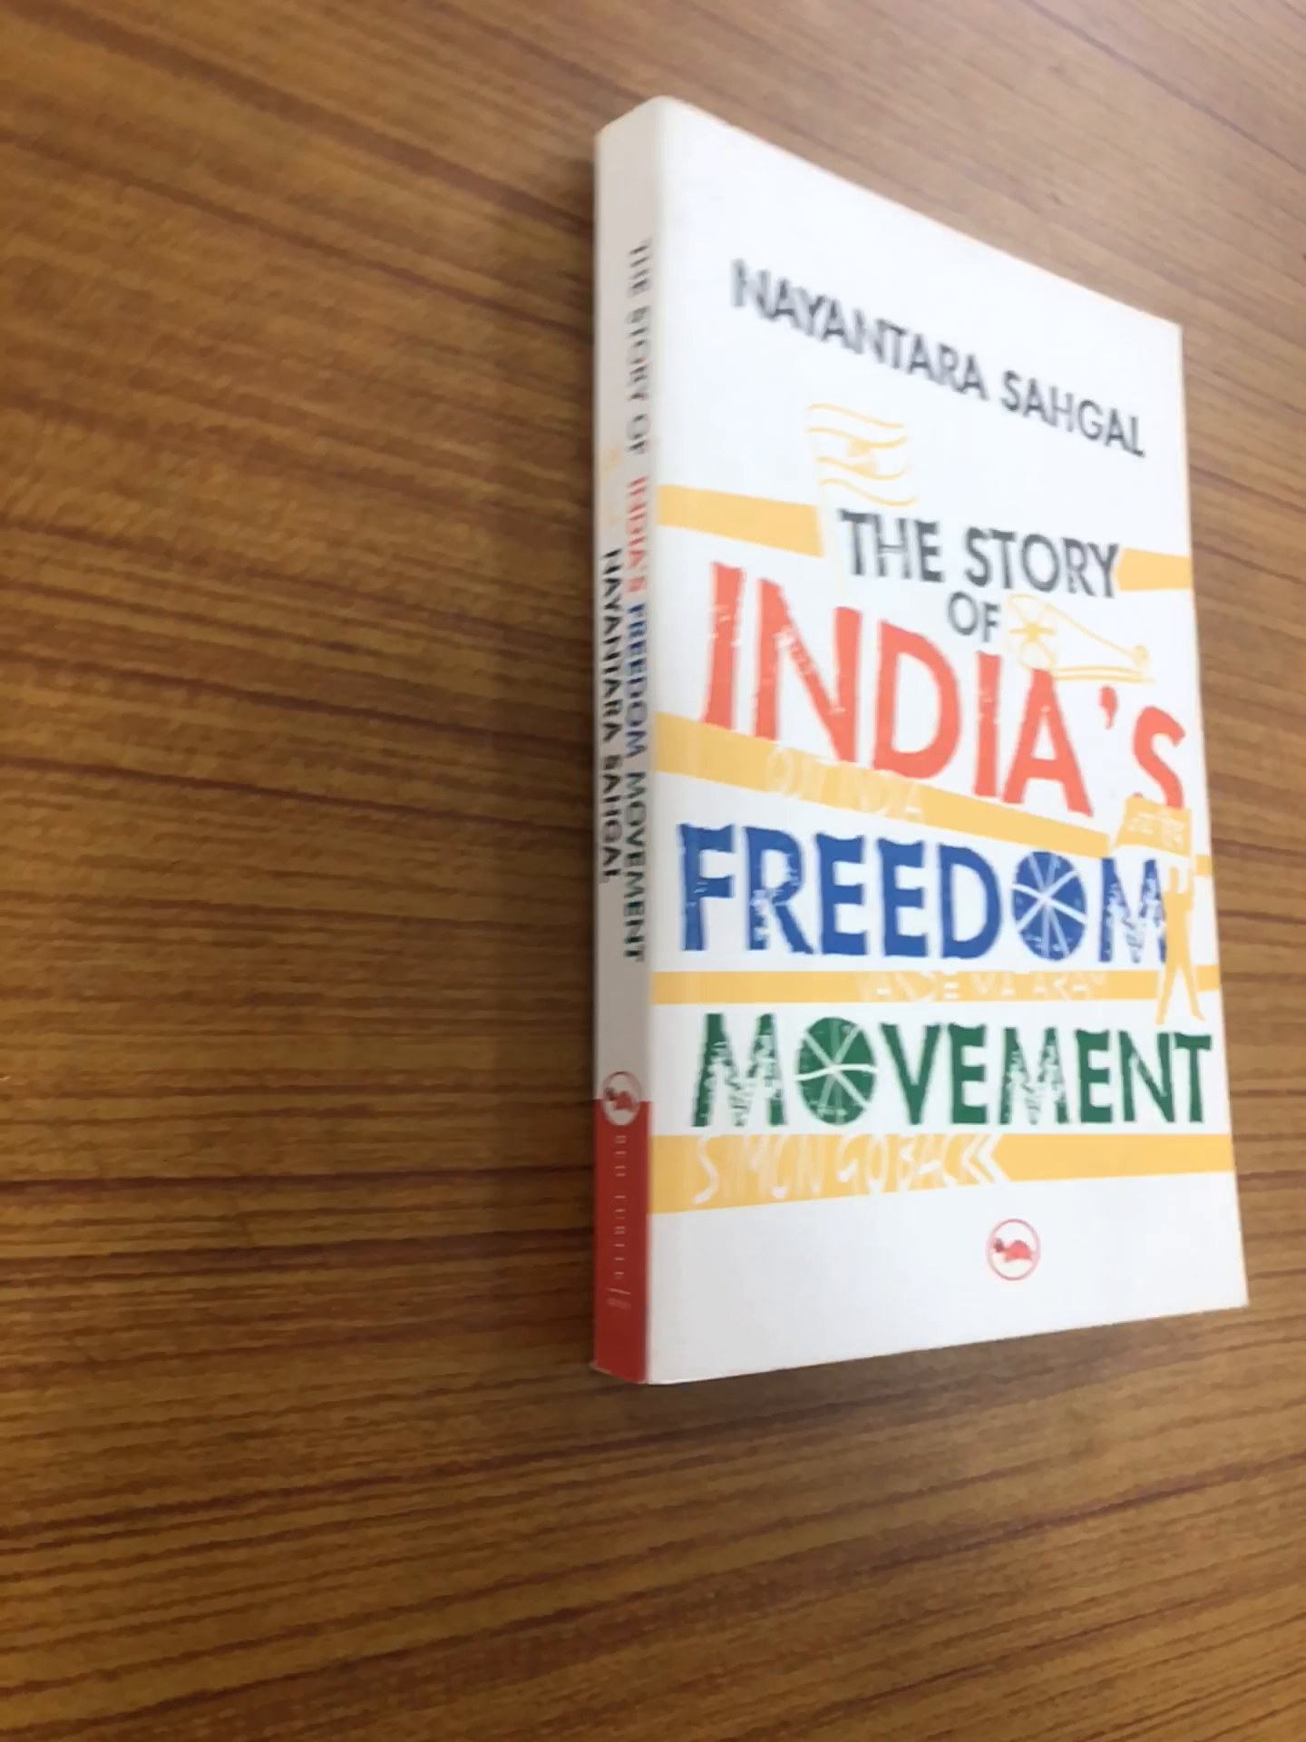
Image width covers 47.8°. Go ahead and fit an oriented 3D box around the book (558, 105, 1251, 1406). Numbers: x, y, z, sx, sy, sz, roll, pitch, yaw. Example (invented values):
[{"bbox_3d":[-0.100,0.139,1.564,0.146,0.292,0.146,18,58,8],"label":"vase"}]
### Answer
[{"bbox_3d":[0.048,-0.016,0.260,0.131,0.030,0.190,5,81,-34],"label":"book"}]
